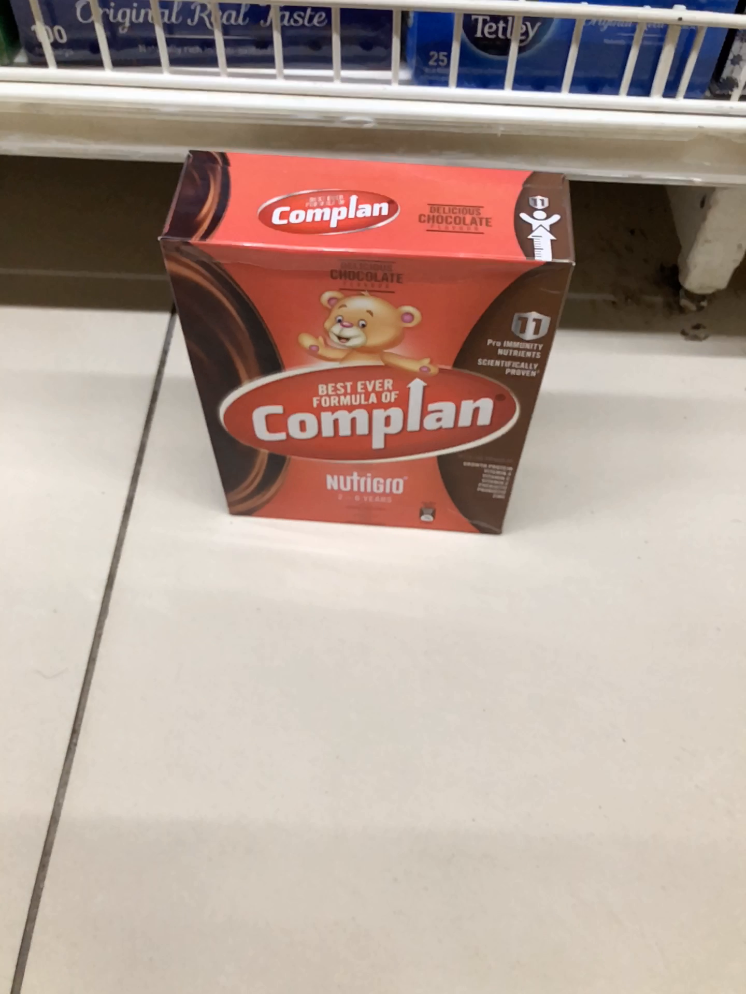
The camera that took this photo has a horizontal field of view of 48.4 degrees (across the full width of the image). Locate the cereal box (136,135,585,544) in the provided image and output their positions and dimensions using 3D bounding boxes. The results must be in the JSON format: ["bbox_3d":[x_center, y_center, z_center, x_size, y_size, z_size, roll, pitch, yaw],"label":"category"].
[{"bbox_3d":[-0.004,-0.051,0.347,0.140,0.179,0.050,4,57,1],"label":"cereal box"}]
